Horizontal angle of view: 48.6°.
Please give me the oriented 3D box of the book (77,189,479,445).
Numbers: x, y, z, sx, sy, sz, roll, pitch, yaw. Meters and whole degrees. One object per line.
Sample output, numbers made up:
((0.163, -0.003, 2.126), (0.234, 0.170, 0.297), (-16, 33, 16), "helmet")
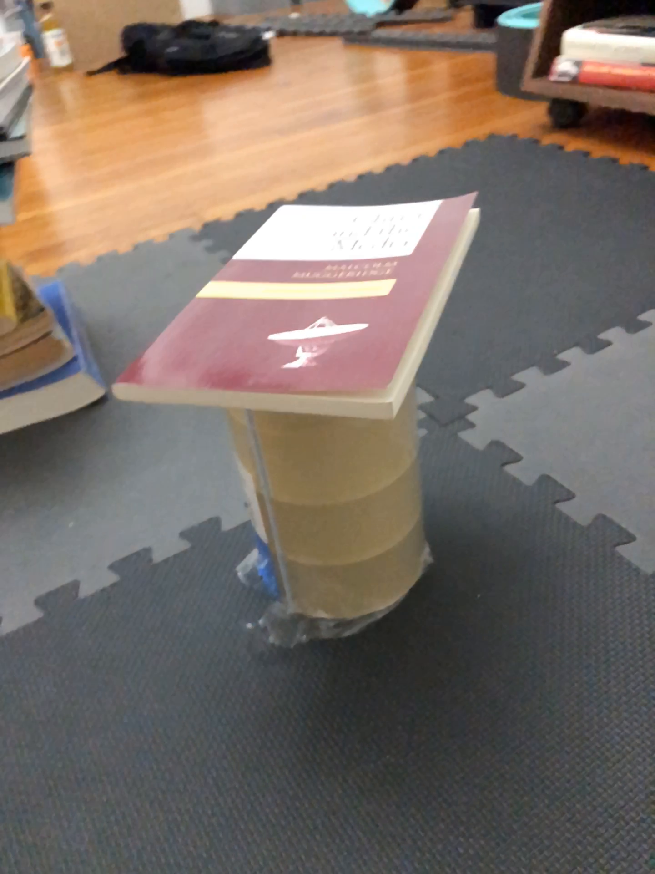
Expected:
((-0.008, -0.076, 0.369), (0.140, 0.020, 0.211), (5, 40, 18), "book")
